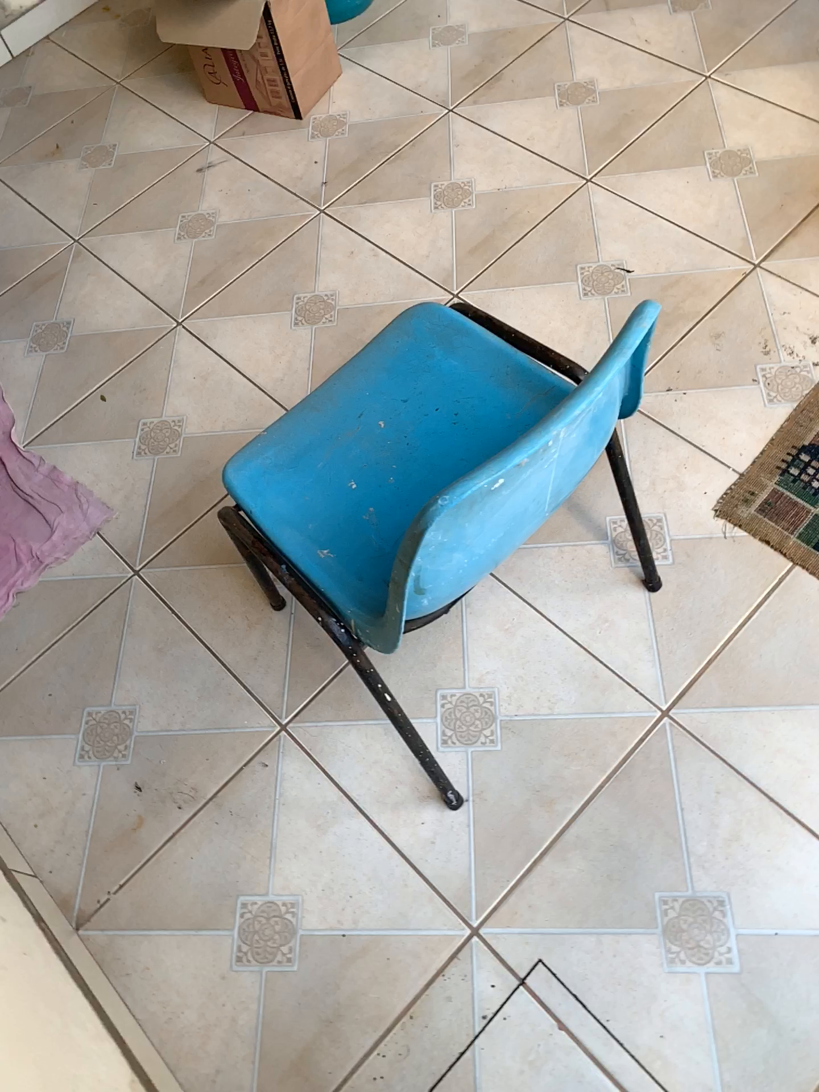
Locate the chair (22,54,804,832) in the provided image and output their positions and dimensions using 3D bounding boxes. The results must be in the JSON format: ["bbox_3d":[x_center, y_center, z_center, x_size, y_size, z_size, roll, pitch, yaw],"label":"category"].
[{"bbox_3d":[0.032,-0.087,1.103,0.531,0.688,0.551,39,73,26],"label":"chair"}]
